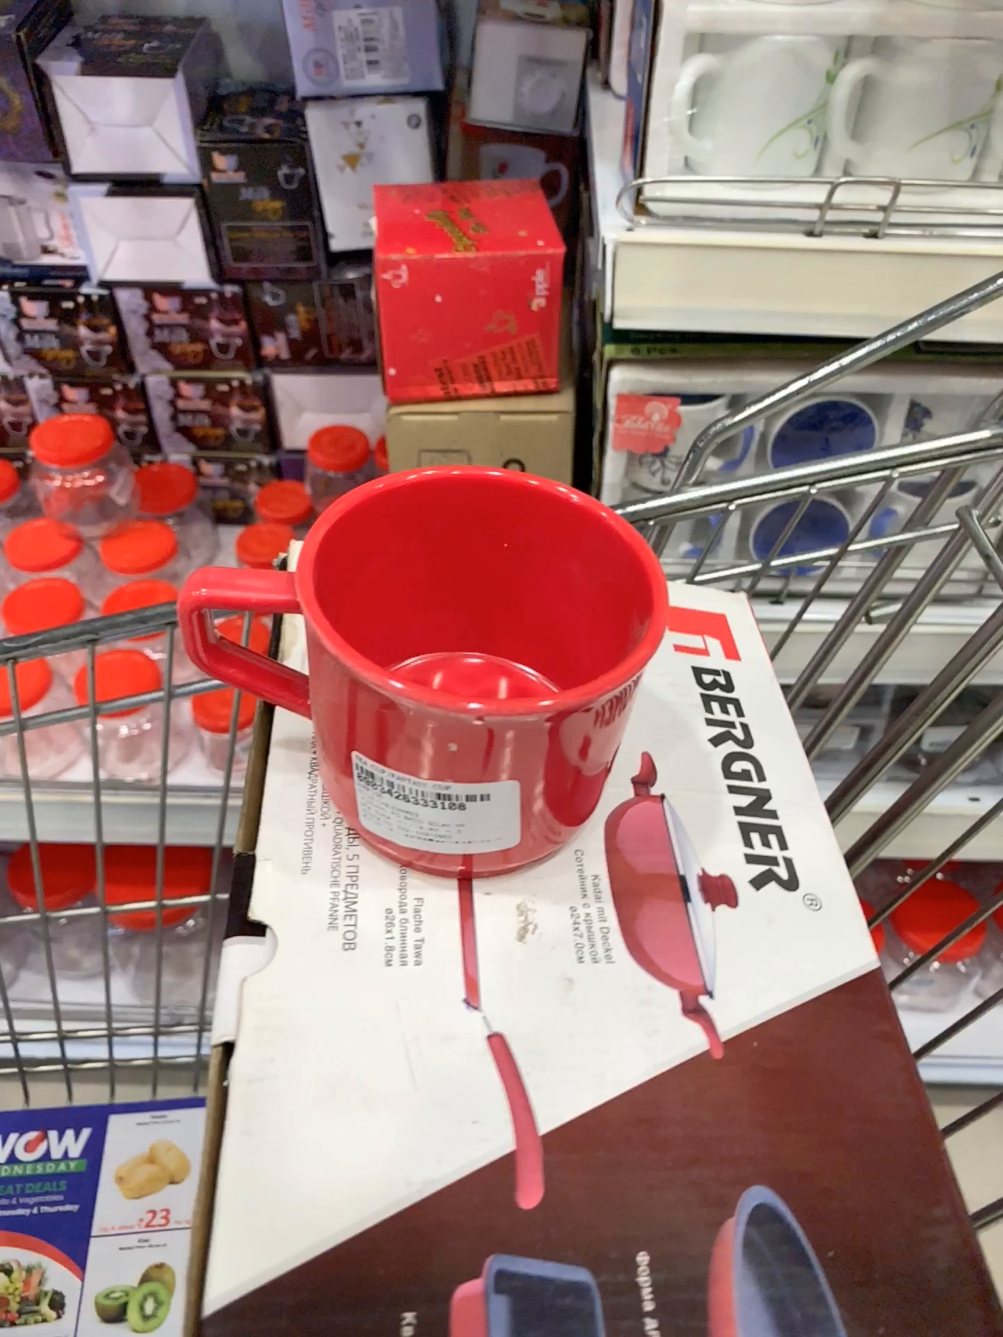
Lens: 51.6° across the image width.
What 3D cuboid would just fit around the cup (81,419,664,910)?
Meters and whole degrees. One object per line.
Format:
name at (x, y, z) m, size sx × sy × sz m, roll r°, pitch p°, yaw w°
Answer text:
cup at (-0.020, -0.002, 0.206) m, size 0.090 × 0.060 × 0.070 m, roll 4°, pitch 45°, yaw -1°
